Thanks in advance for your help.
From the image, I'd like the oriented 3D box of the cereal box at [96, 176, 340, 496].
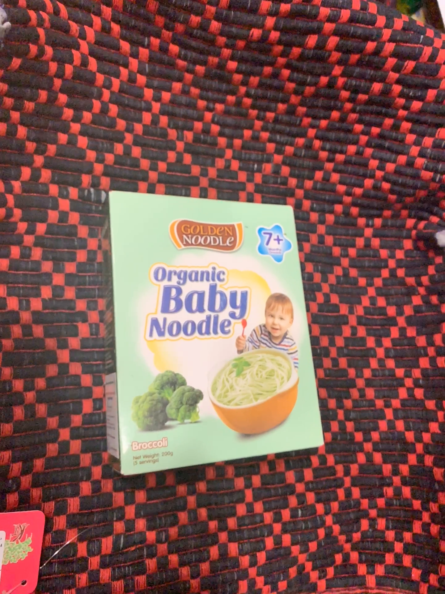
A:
[{"bbox_3d":[-0.008,0.021,0.298,0.130,0.060,0.170,0,78,-23],"label":"cereal box"}]
